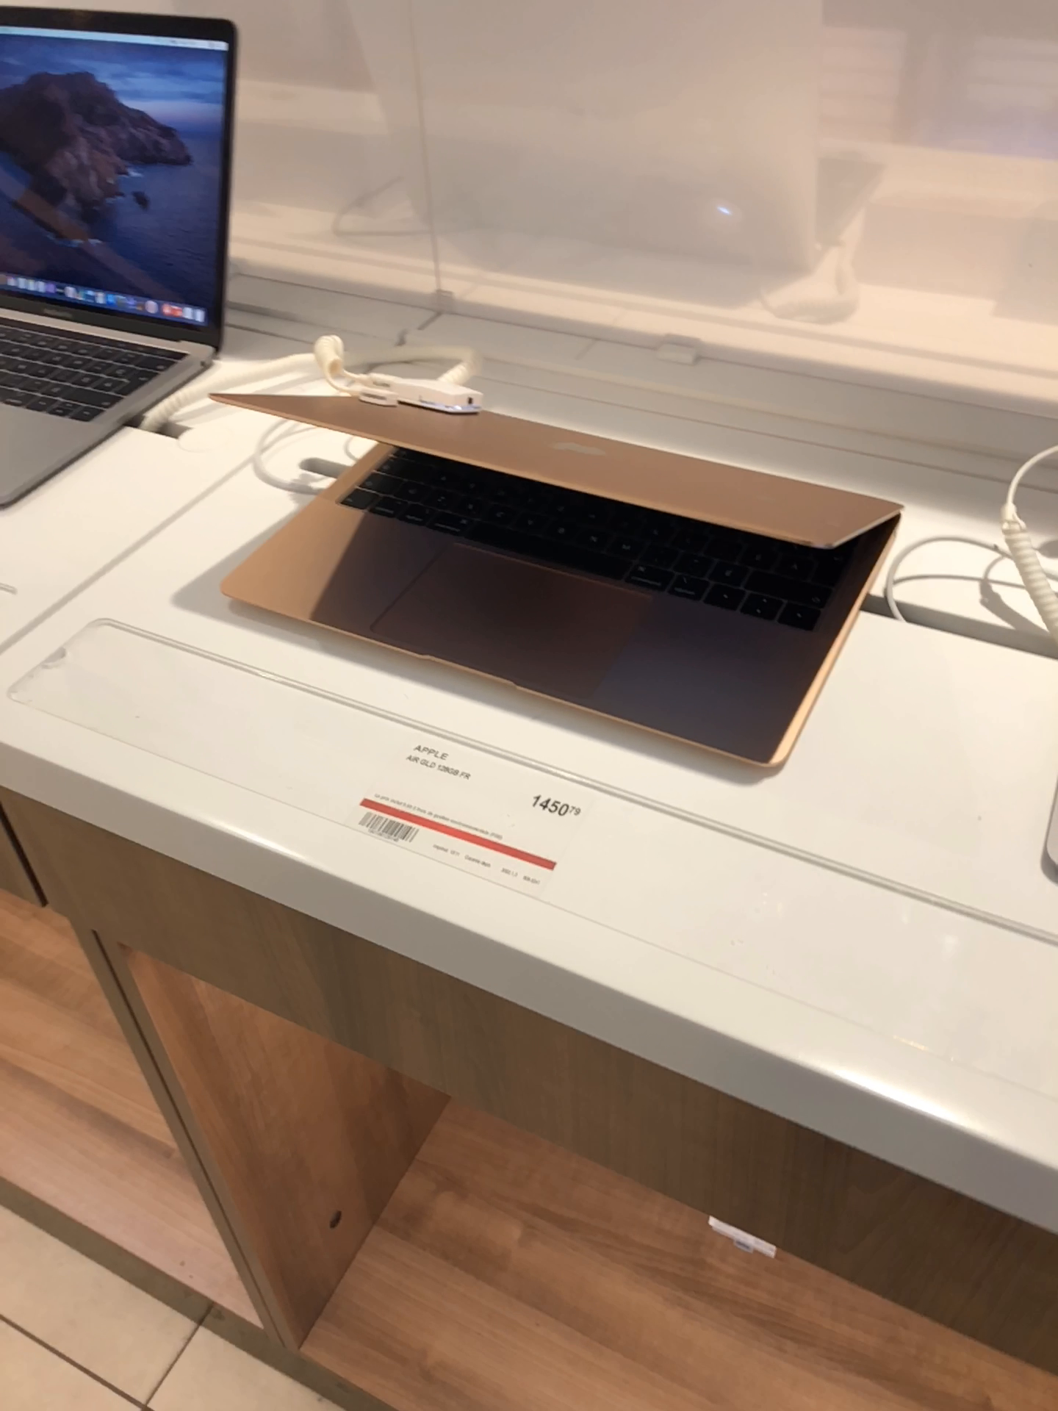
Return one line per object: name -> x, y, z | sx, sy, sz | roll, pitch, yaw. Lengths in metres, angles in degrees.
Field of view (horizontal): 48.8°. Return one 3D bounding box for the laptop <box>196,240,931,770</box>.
laptop -> 0.022, -0.126, 0.586 | 0.299, 0.104, 0.225 | 18, 45, 25
